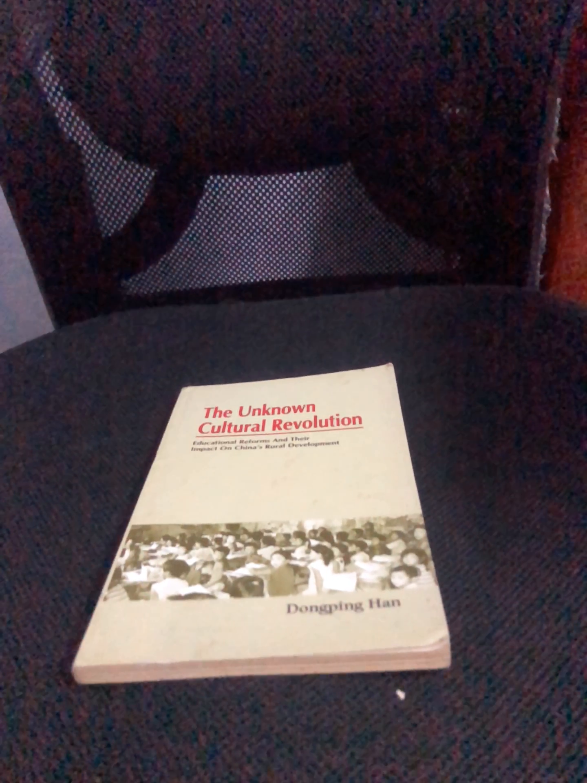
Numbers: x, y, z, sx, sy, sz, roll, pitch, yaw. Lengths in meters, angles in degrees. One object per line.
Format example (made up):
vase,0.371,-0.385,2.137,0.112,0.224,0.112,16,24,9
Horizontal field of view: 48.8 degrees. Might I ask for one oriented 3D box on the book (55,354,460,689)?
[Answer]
book,-0.010,0.048,0.337,0.154,0.017,0.215,-5,32,6
